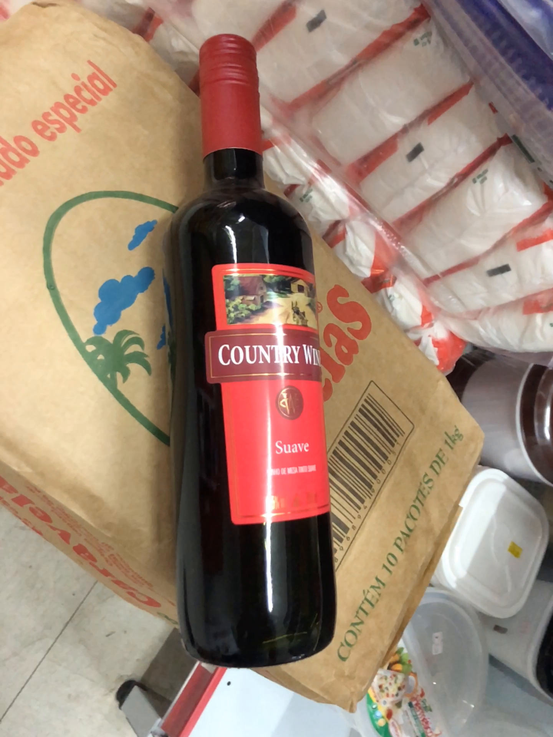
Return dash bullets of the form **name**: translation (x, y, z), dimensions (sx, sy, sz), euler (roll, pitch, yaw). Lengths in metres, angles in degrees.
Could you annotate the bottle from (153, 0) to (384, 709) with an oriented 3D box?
- **bottle**: translation (-0.006, -0.014, 0.282), dimensions (0.080, 0.060, 0.290), euler (-1, 88, -28)
